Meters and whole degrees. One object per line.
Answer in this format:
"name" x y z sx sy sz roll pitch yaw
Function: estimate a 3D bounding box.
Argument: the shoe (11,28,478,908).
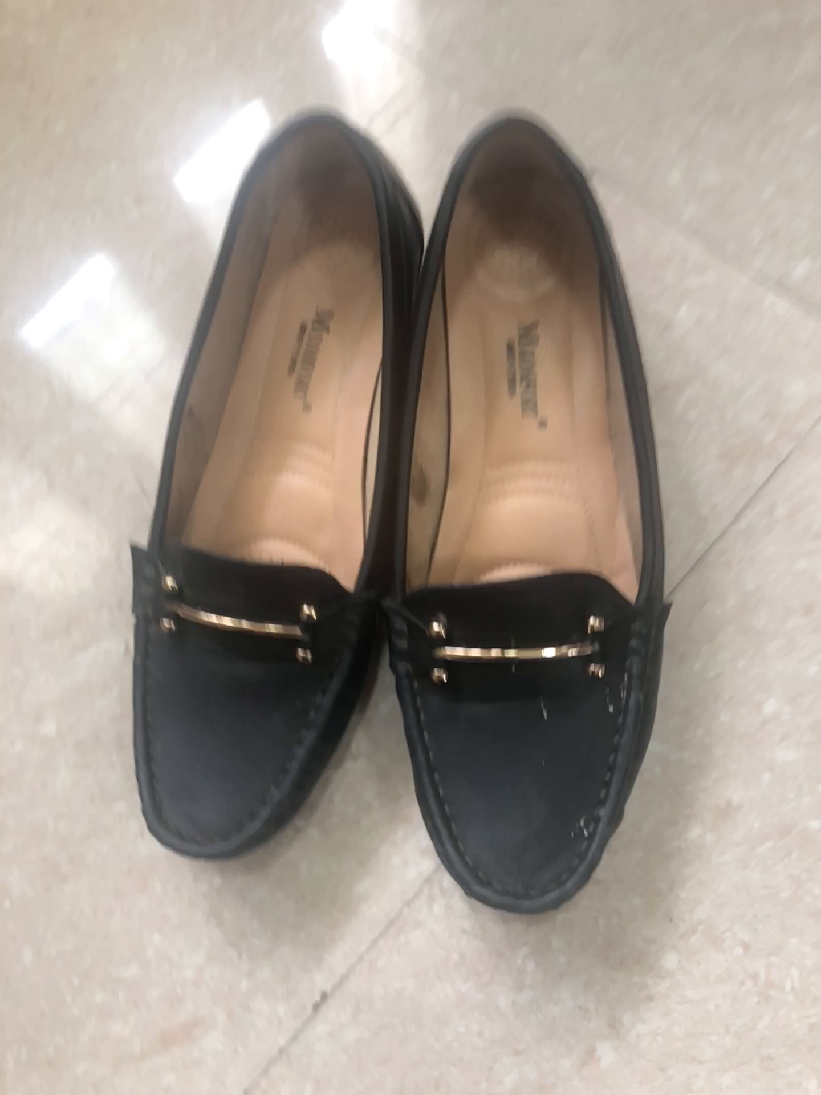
"shoe" -0.045 -0.039 0.349 0.100 0.080 0.310 6 75 9

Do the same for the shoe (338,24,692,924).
"shoe" 0.039 -0.033 0.341 0.100 0.080 0.310 0 74 7
